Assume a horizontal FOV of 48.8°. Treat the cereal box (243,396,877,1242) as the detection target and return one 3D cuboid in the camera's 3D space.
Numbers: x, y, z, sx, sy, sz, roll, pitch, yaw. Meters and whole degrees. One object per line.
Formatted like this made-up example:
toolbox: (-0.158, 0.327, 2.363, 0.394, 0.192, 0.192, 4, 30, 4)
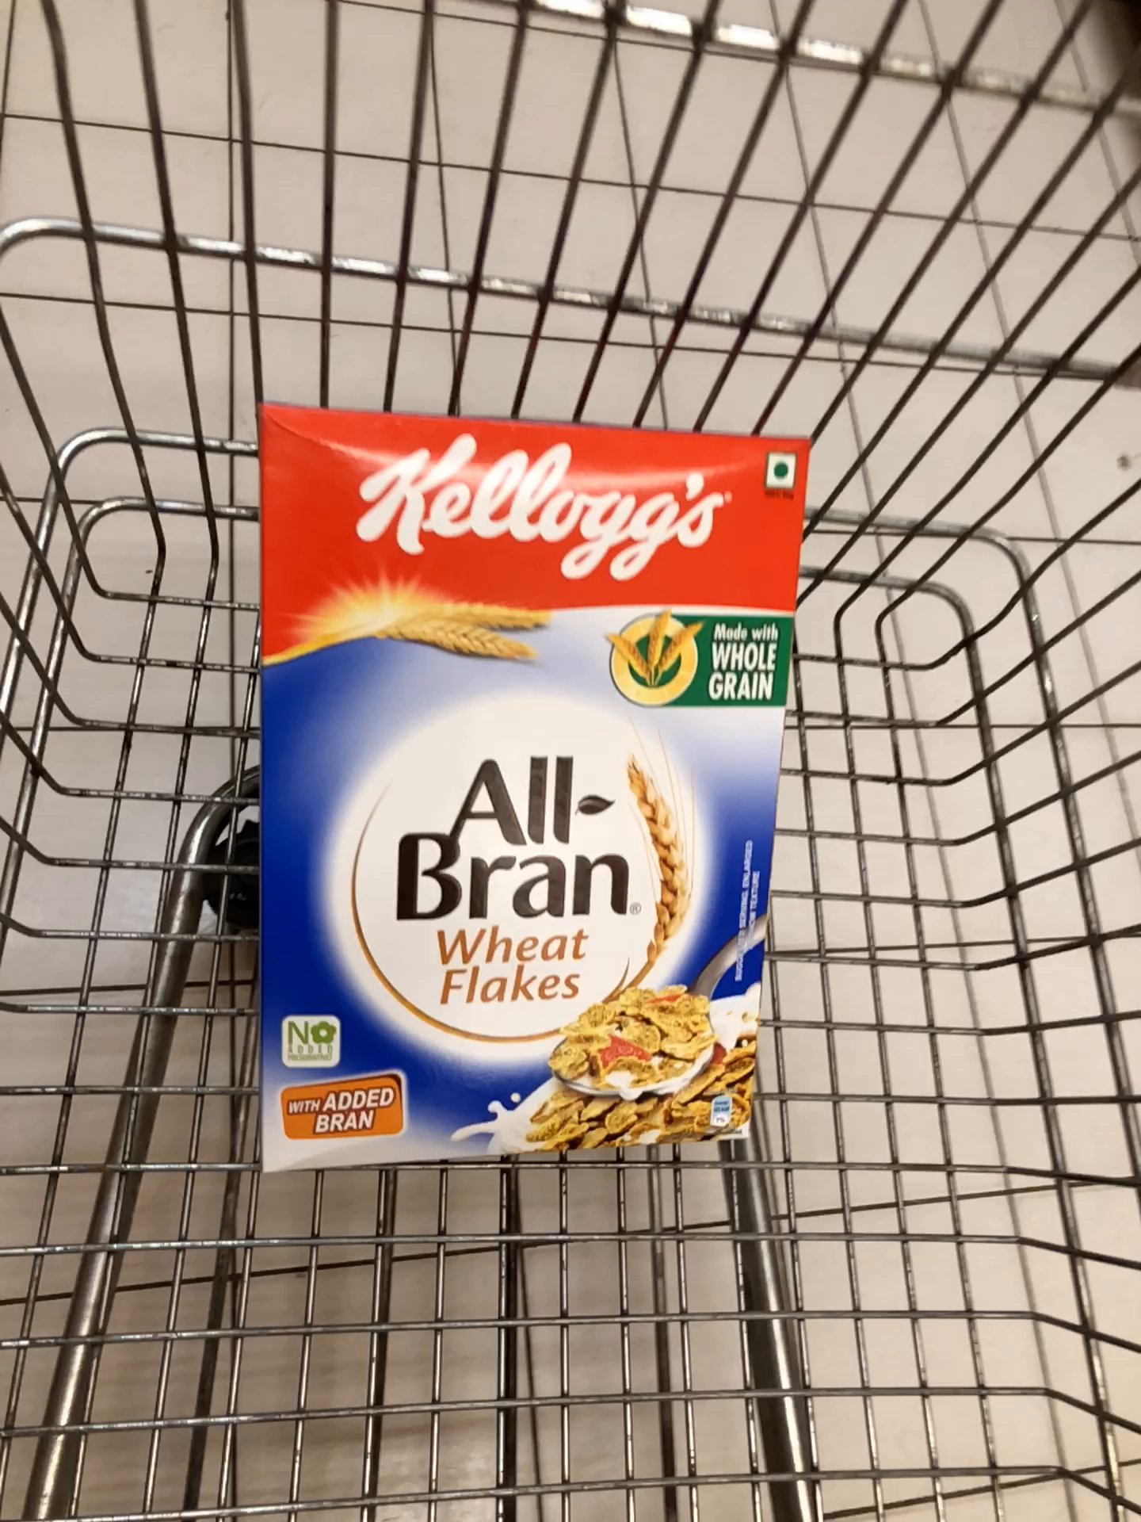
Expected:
cereal box: (-0.016, 0.019, 0.442, 0.190, 0.080, 0.269, 1, 105, -14)
